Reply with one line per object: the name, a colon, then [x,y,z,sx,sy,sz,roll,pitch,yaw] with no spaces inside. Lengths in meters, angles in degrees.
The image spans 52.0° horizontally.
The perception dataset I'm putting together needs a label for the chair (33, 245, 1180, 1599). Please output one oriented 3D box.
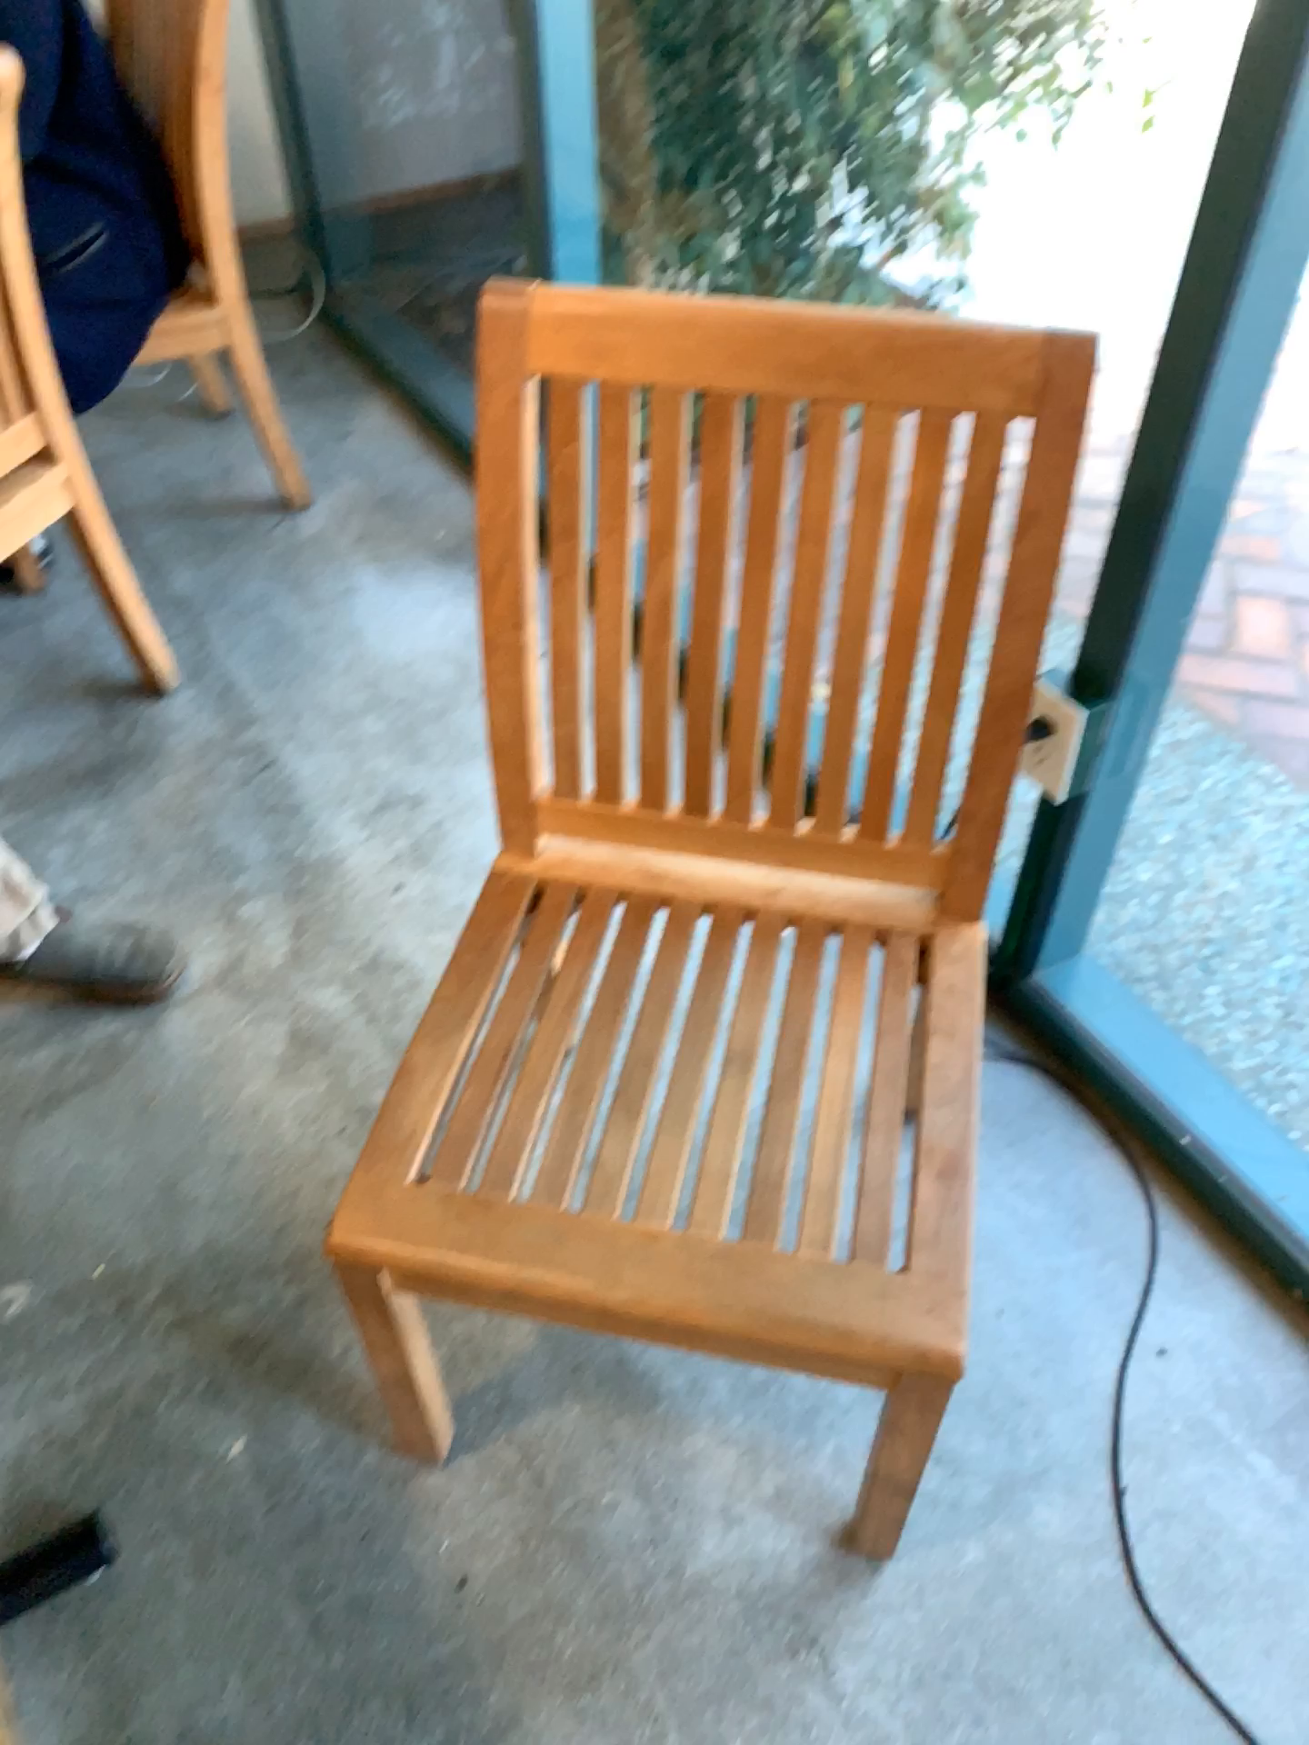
chair: [0.034,0.080,1.135,0.530,0.916,0.613,9,47,10]
